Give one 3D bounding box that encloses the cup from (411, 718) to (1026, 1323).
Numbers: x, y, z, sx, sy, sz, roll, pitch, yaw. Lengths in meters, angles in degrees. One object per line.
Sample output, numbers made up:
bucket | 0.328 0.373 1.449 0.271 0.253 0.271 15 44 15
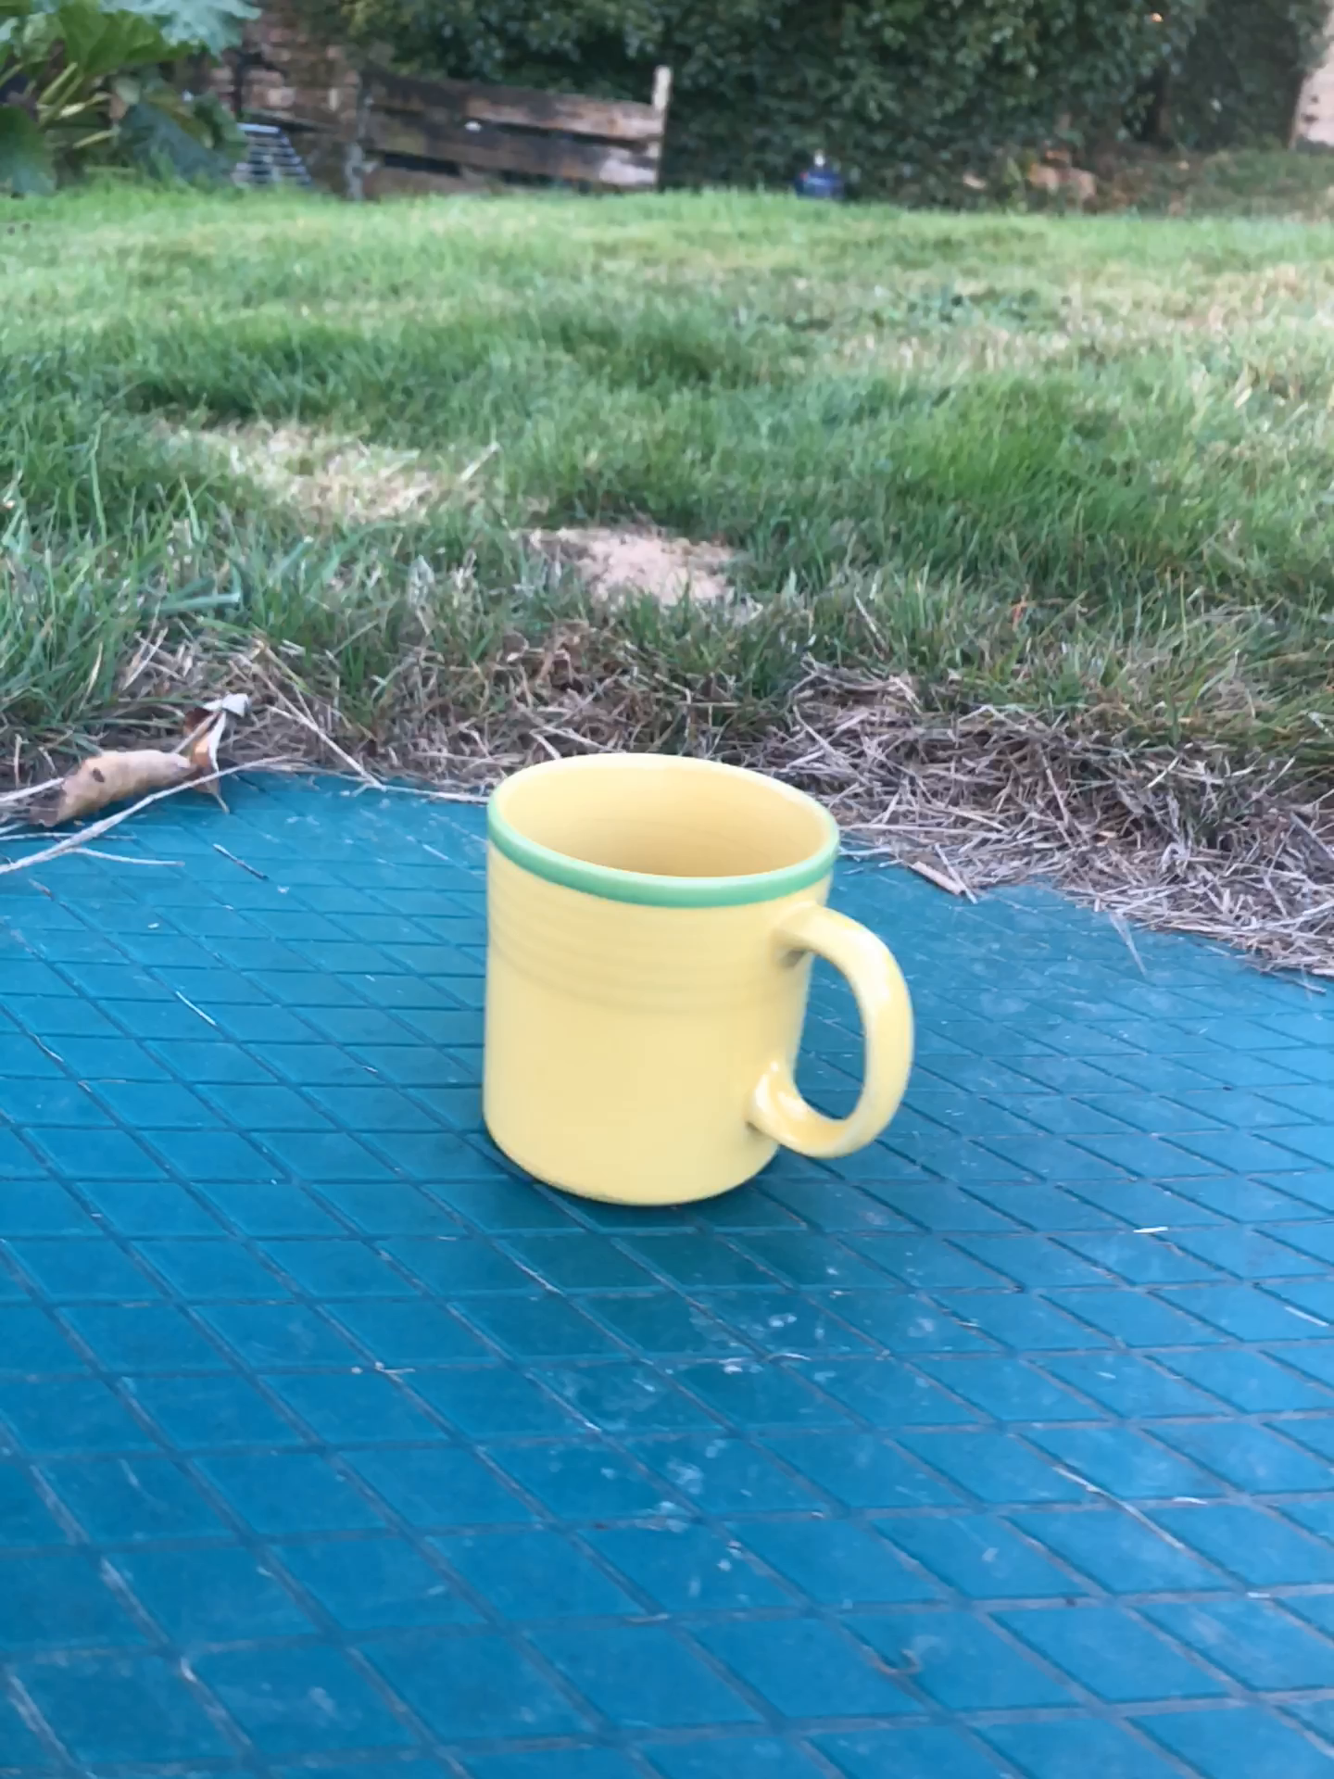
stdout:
cup | 0.009 0.022 0.359 0.115 0.090 0.087 21 28 35
